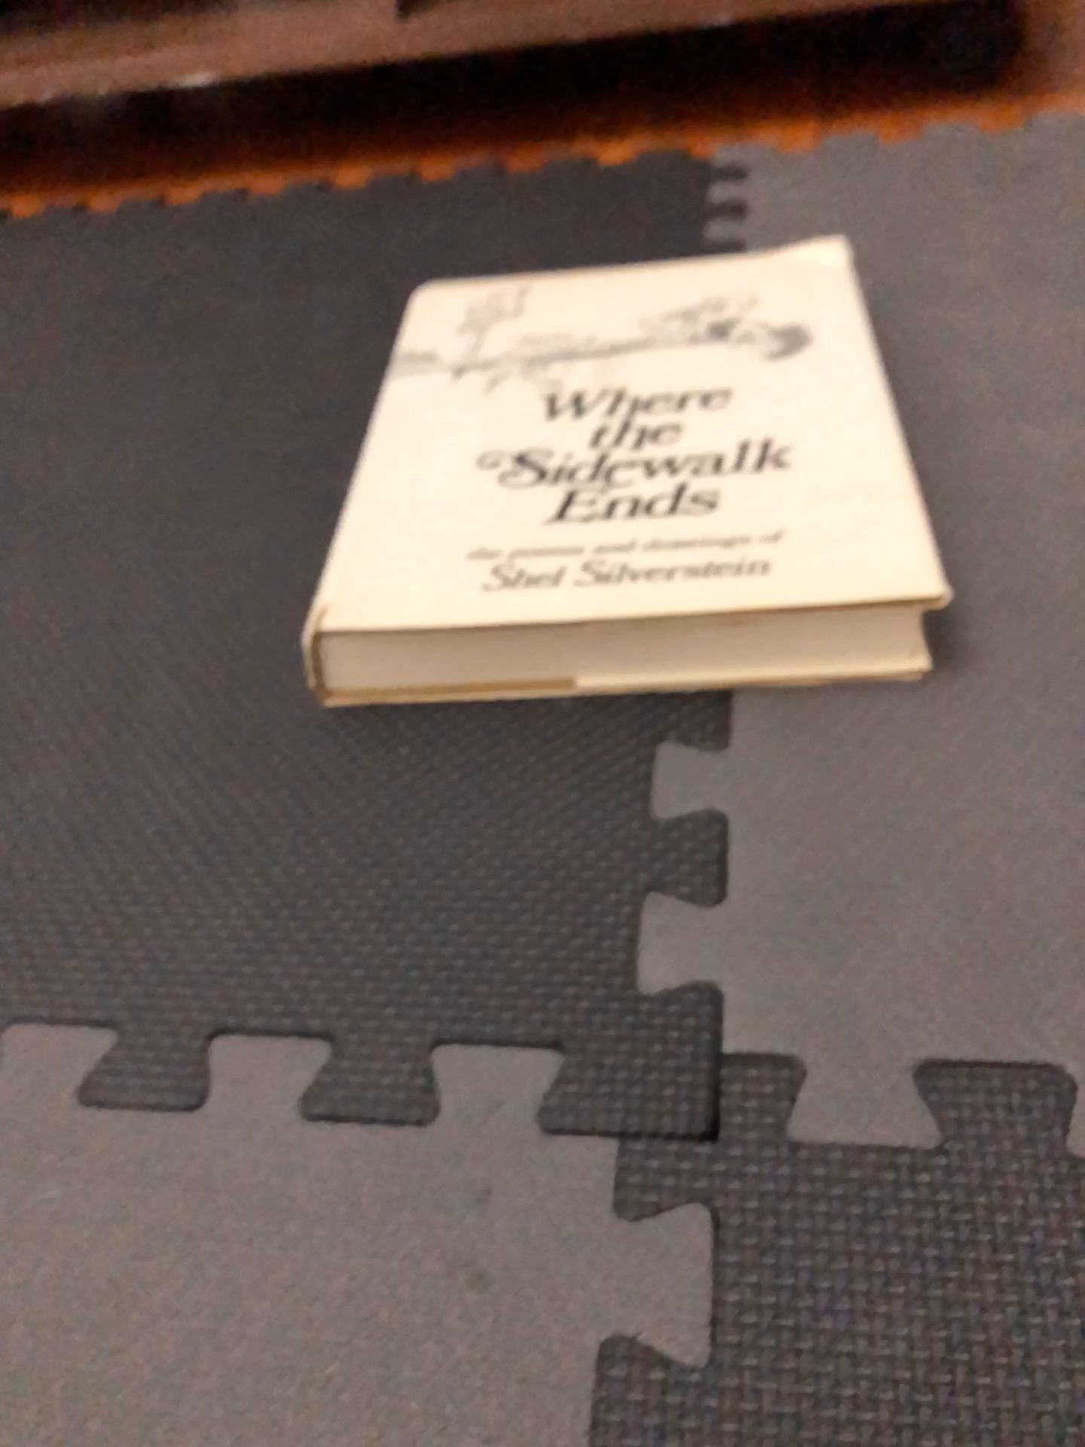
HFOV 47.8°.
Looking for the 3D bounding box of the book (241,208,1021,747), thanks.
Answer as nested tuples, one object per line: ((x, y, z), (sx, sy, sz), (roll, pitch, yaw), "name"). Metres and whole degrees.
((0.031, -0.103, 0.427), (0.200, 0.030, 0.282), (-3, 42, 9), "book")
